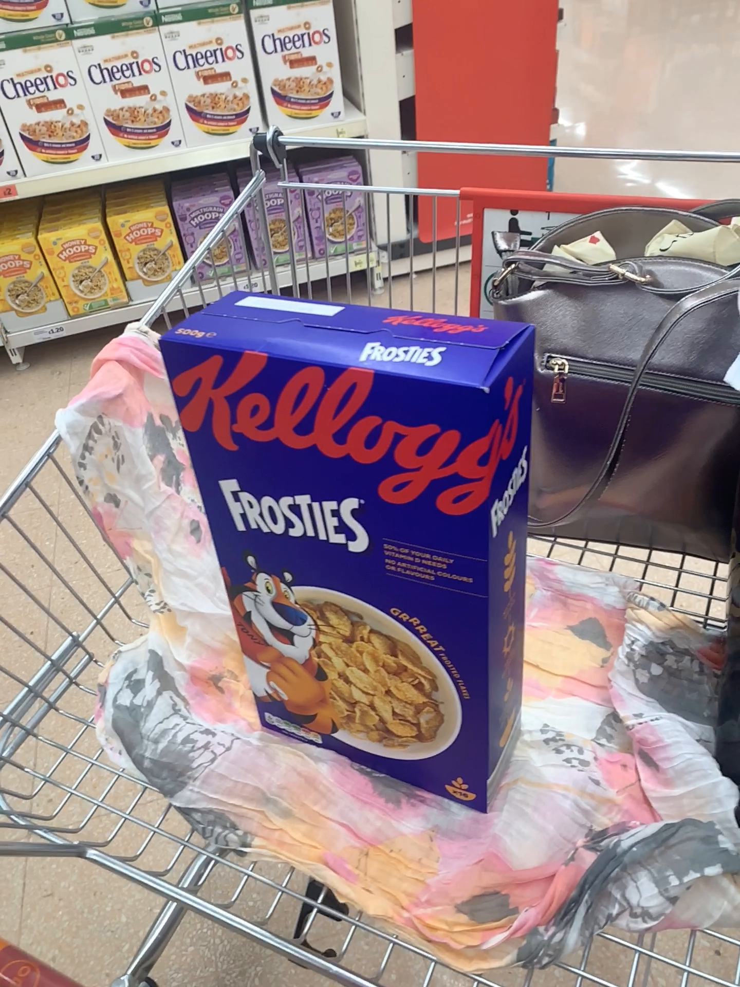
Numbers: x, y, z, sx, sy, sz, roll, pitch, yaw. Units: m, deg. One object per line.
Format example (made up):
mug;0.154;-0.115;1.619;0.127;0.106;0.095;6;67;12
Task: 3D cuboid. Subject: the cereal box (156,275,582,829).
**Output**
cereal box;0.004;0.048;0.493;0.211;0.337;0.081;13;38;23
